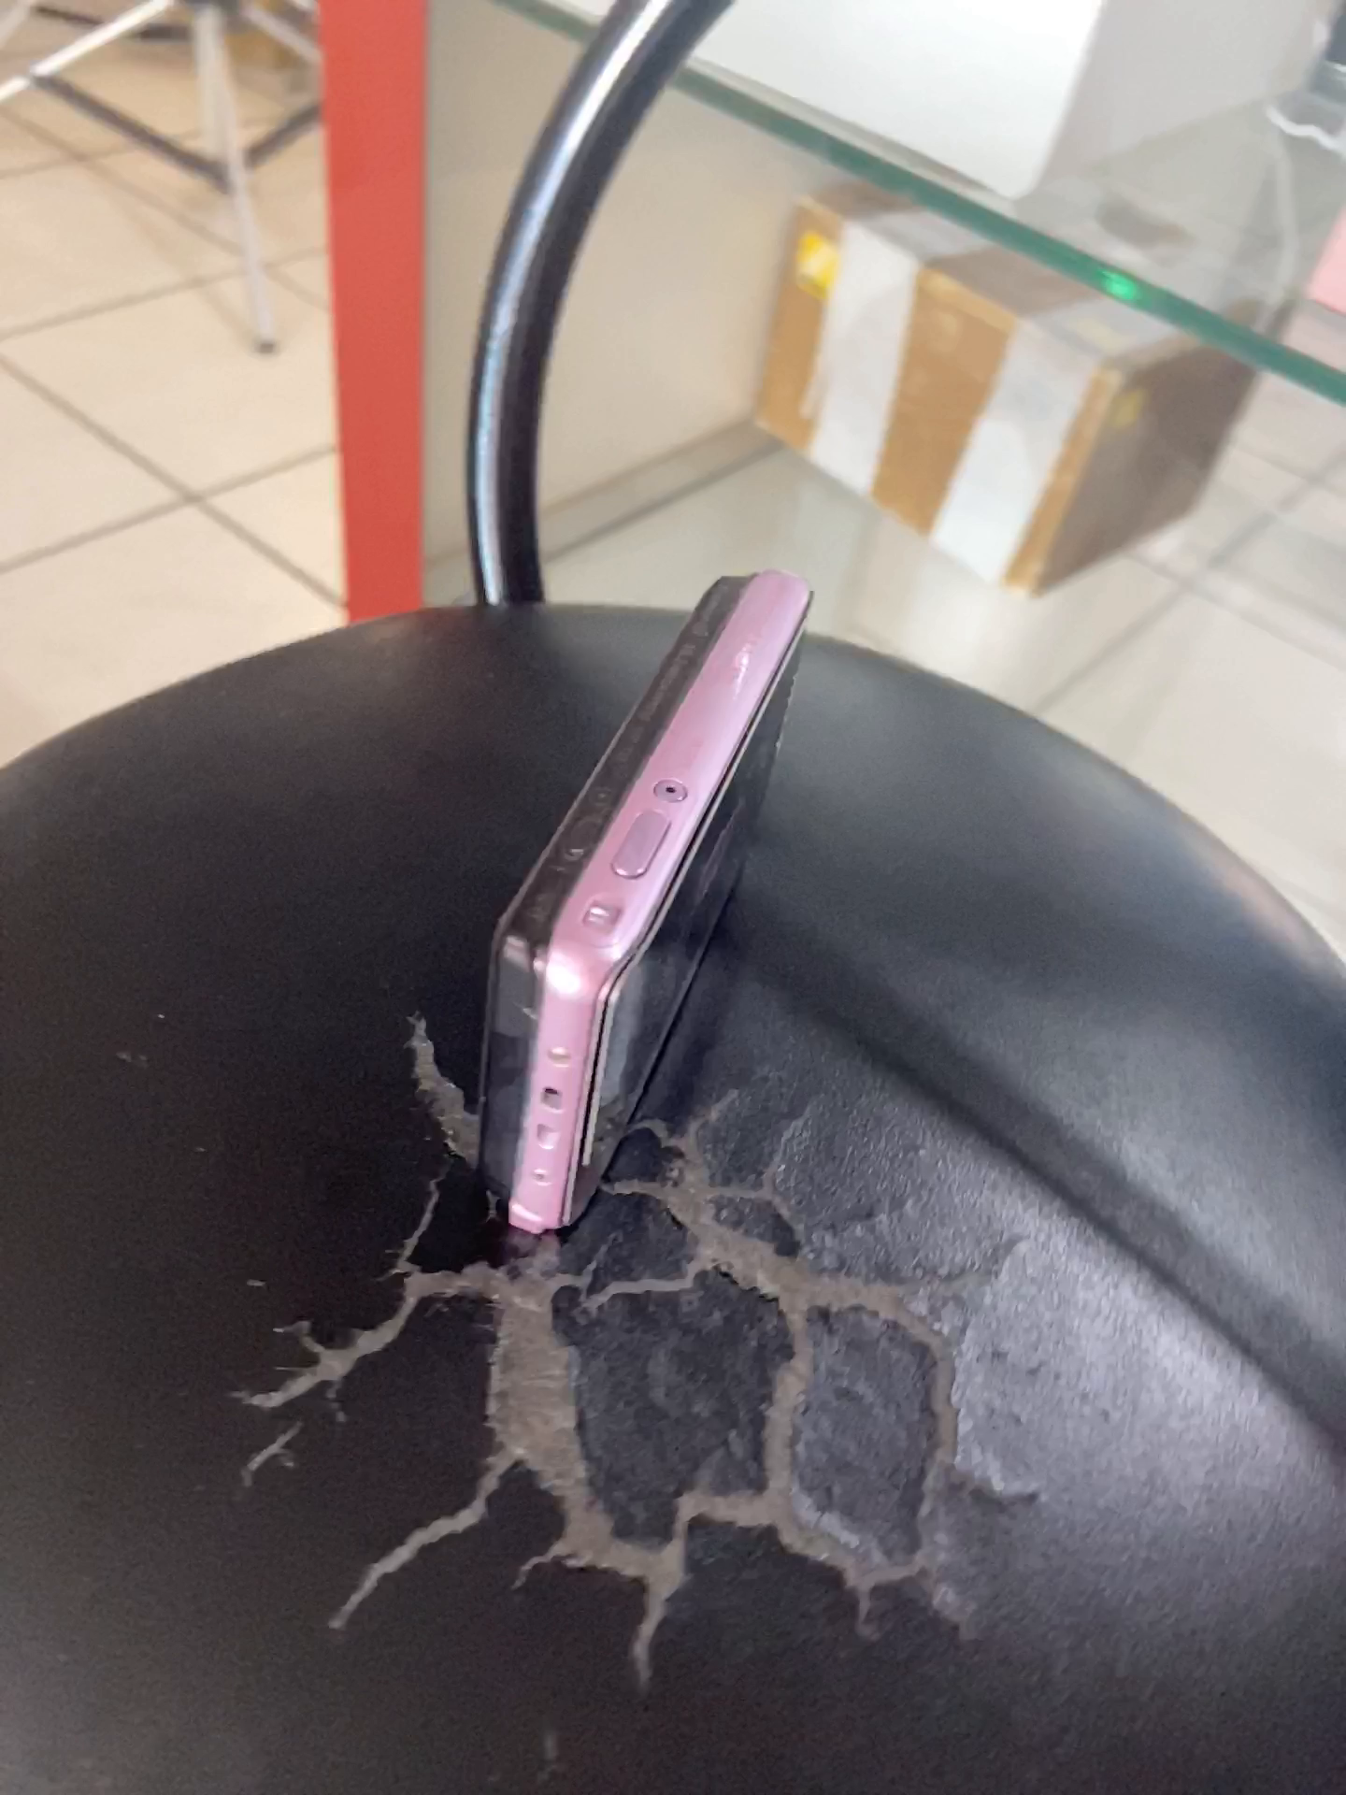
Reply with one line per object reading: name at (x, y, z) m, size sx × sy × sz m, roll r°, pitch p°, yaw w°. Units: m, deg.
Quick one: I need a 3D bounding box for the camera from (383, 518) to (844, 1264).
camera at (-0.006, -0.006, 0.206) m, size 0.030 × 0.050 × 0.101 m, roll 19°, pitch 45°, yaw 6°
